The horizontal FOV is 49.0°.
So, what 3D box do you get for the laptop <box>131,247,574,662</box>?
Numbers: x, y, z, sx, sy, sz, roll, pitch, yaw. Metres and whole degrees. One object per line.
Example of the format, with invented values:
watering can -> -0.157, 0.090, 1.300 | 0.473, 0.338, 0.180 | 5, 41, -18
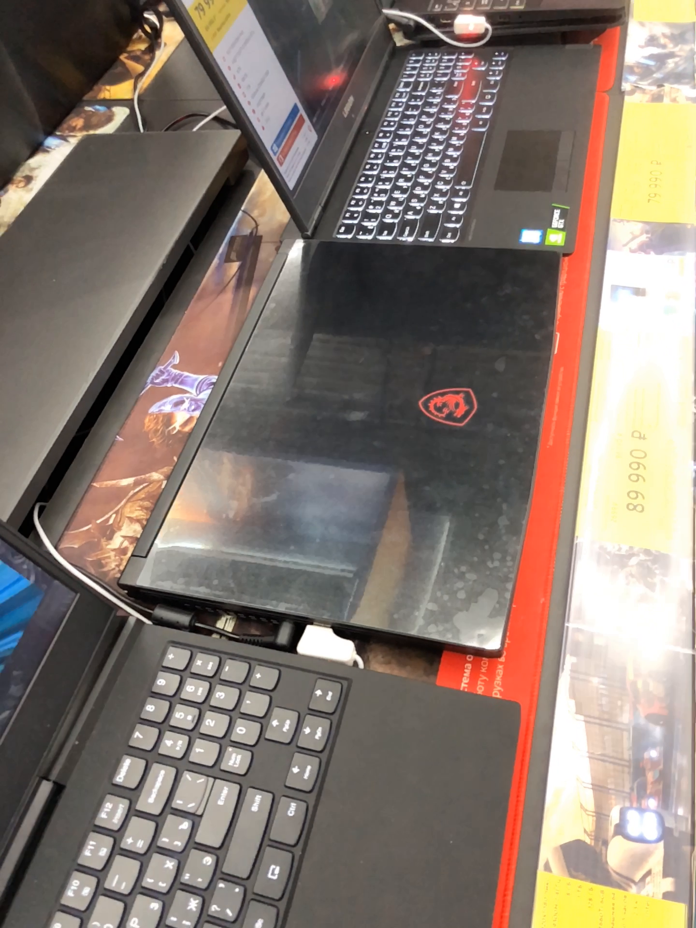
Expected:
laptop -> 0.023, -0.042, 0.554 | 0.239, 0.002, 0.354 | 7, 54, 16
